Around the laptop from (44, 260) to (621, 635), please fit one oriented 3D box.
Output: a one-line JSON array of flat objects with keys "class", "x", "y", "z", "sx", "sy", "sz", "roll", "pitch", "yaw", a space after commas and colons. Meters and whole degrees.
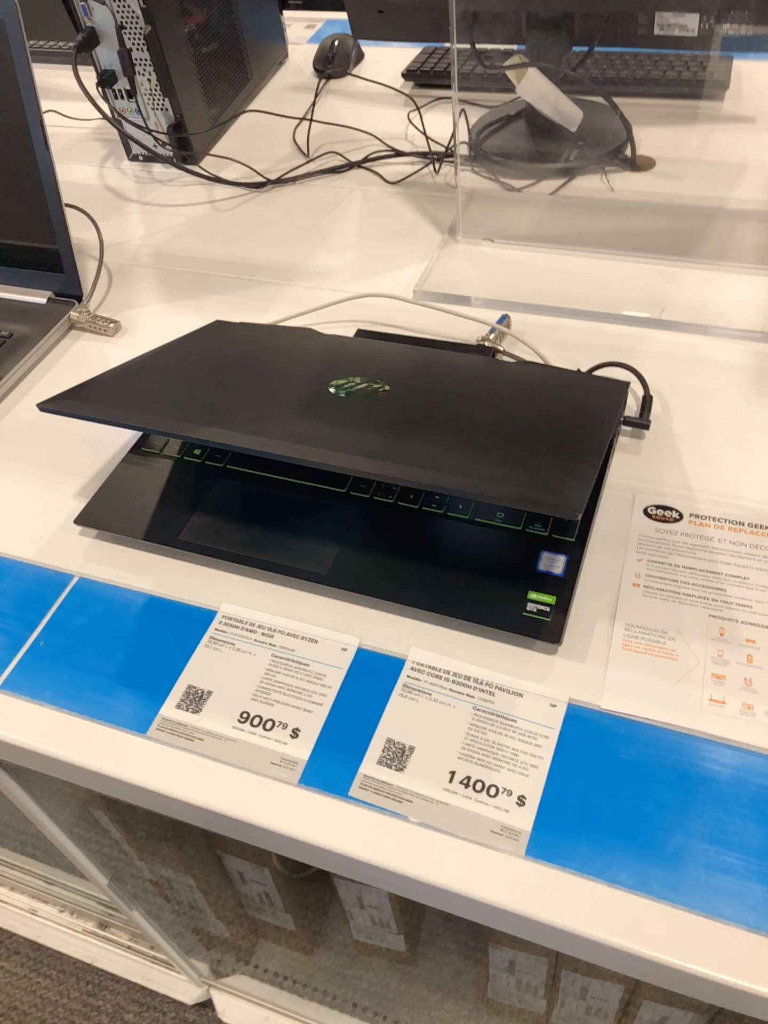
[{"class": "laptop", "x": -0.029, "y": -0.064, "z": 0.601, "sx": 0.339, "sy": 0.064, "sz": 0.221, "roll": 12, "pitch": 55, "yaw": 17}]
